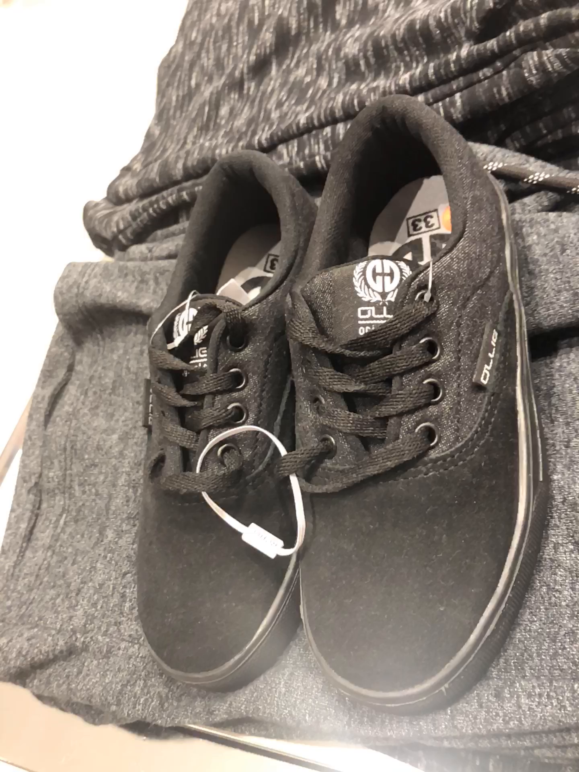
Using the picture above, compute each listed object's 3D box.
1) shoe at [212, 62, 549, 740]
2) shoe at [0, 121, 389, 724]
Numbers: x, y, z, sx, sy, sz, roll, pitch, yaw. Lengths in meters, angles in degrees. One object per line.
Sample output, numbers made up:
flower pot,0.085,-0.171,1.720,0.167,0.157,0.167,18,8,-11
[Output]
shoe,0.052,-0.003,0.257,0.090,0.080,0.241,-2,62,24
shoe,-0.030,0.007,0.270,0.090,0.080,0.221,2,64,26
